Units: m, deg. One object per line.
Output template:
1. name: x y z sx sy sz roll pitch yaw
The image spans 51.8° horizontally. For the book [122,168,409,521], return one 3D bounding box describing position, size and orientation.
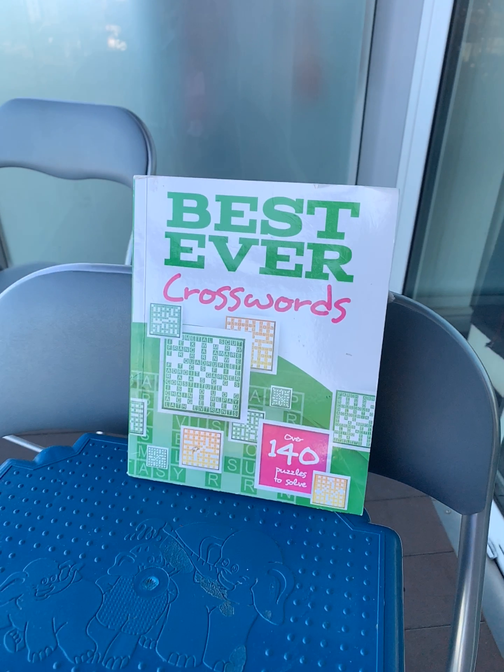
1. book: 0.002 0.004 0.321 0.157 0.196 0.030 6 12 9
